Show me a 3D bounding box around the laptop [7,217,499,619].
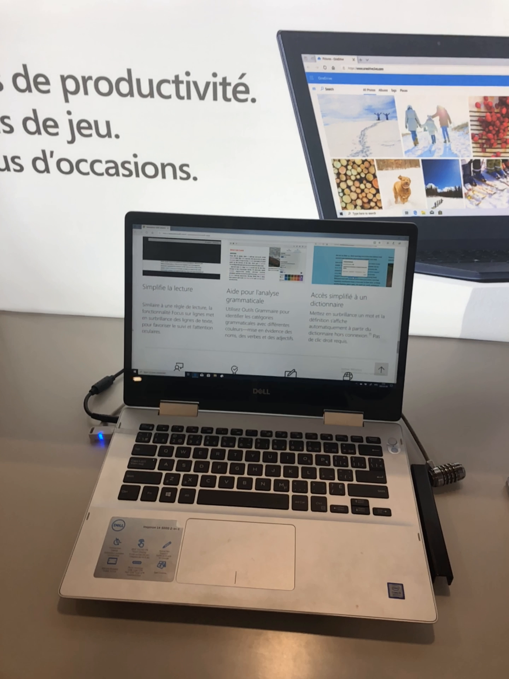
[{"bbox_3d":[0.005,0.048,0.552,0.316,0.193,0.338,3,38,3],"label":"laptop"}]
